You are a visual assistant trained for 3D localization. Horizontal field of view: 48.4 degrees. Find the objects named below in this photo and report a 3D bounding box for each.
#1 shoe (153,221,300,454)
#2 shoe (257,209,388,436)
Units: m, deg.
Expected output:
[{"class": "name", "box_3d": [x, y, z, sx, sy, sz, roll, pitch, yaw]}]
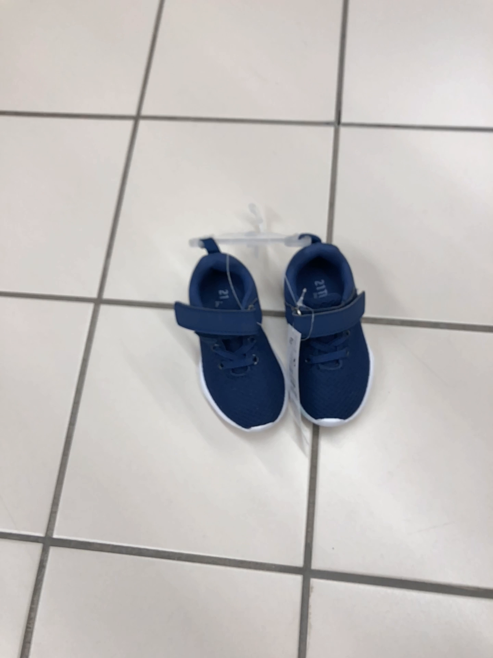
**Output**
[{"class": "shoe", "box_3d": [-0.015, 0.009, 0.439, 0.074, 0.076, 0.158, -15, 70, -1]}, {"class": "shoe", "box_3d": [0.055, -0.003, 0.437, 0.081, 0.074, 0.160, -4, 70, 3]}]
